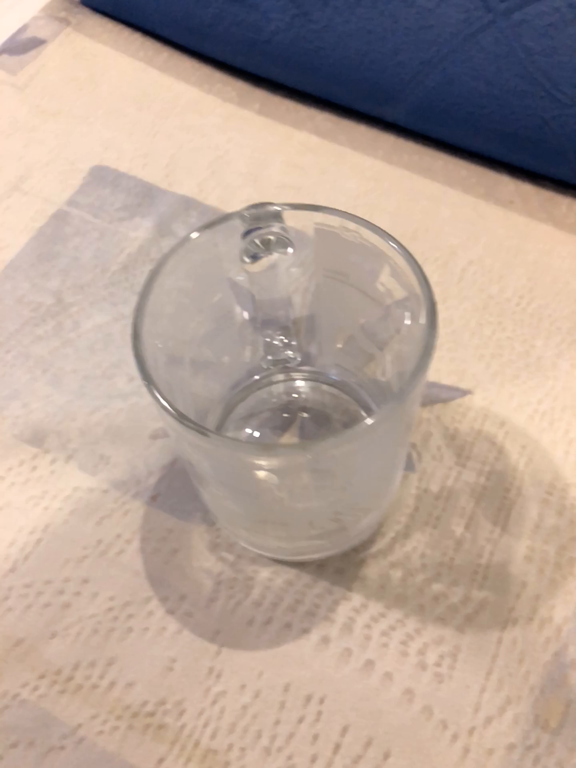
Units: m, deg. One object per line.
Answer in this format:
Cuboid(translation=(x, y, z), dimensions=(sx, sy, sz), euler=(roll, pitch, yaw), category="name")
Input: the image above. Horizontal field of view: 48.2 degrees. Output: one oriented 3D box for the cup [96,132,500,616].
Cuboid(translation=(-0.005, -0.002, 0.207), dimensions=(0.090, 0.080, 0.121), euler=(-8, 60, -3), category="cup")
